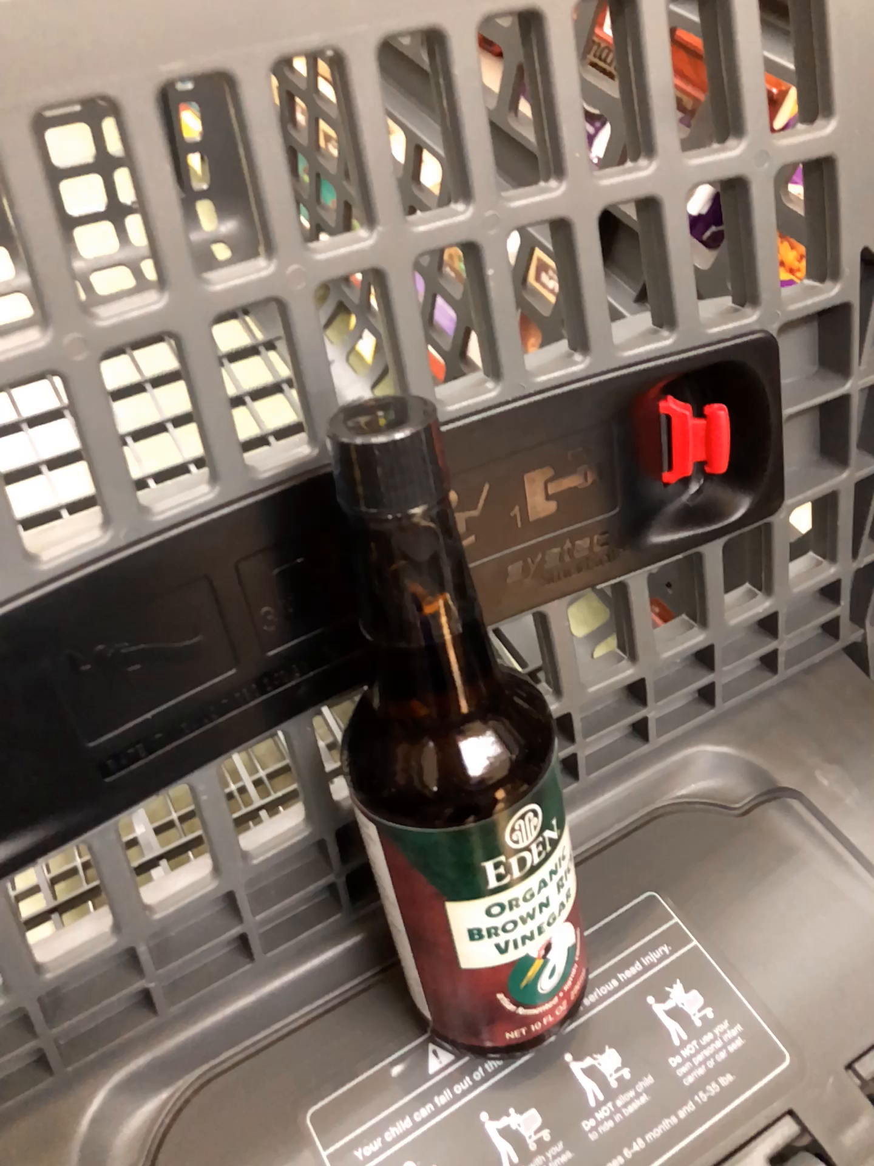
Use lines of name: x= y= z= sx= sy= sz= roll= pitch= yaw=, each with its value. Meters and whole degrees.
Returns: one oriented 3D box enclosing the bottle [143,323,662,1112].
bottle: x=-0.001 y=0.037 z=0.260 sx=0.070 sy=0.190 sz=0.070 roll=-12 pitch=28 yaw=6
